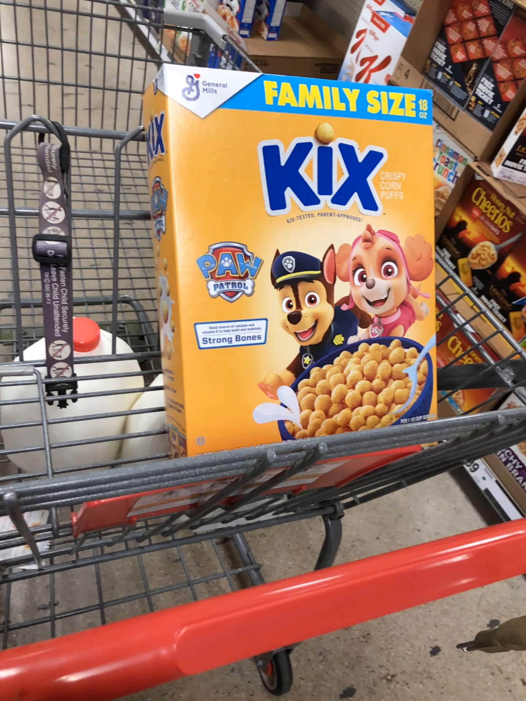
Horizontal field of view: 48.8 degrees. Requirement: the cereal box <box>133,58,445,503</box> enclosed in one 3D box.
[{"bbox_3d":[0.026,-0.058,0.517,0.250,0.330,0.090,-4,8,-19],"label":"cereal box"}]
